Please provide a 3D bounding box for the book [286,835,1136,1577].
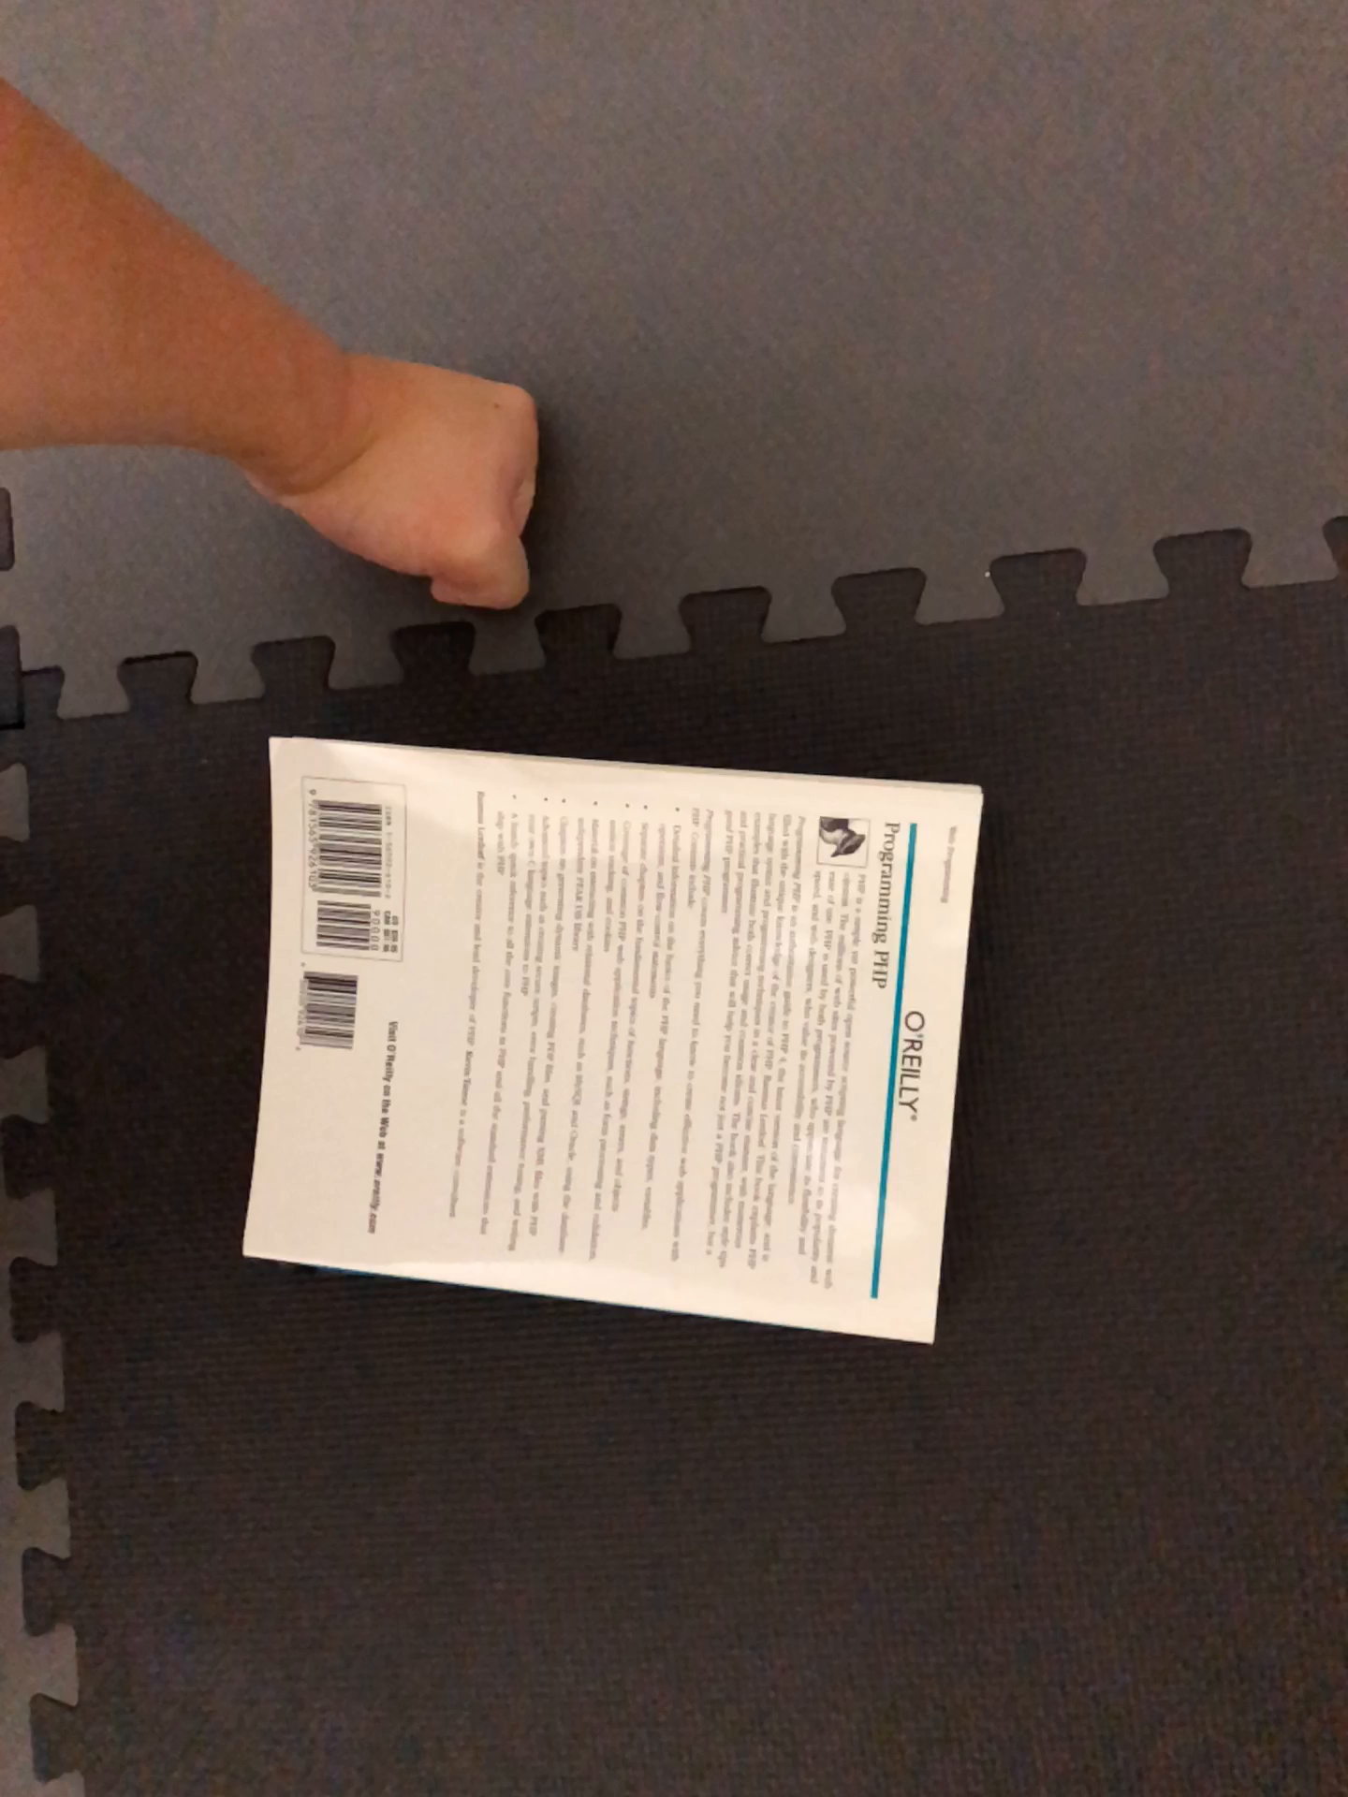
[{"bbox_3d":[0.010,0.106,0.560,0.290,0.040,0.230,6,89,10],"label":"book"}]
